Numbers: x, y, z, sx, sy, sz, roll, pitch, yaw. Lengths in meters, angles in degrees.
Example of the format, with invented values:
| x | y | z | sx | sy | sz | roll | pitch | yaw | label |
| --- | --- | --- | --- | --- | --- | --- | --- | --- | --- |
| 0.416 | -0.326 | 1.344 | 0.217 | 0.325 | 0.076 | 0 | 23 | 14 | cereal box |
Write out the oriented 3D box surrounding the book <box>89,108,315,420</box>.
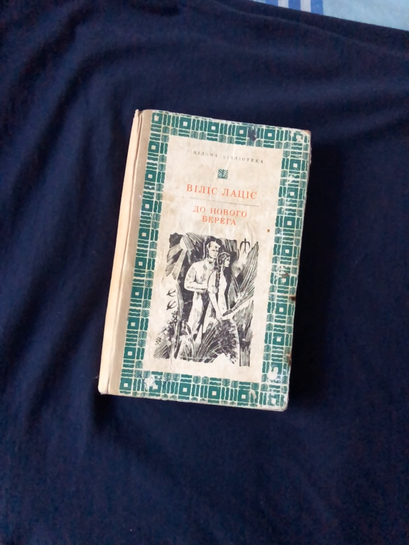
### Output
| x | y | z | sx | sy | sz | roll | pitch | yaw | label |
| --- | --- | --- | --- | --- | --- | --- | --- | --- | --- |
| 0.001 | -0.007 | 0.328 | 0.134 | 0.040 | 0.201 | 6 | 82 | -2 | book |
